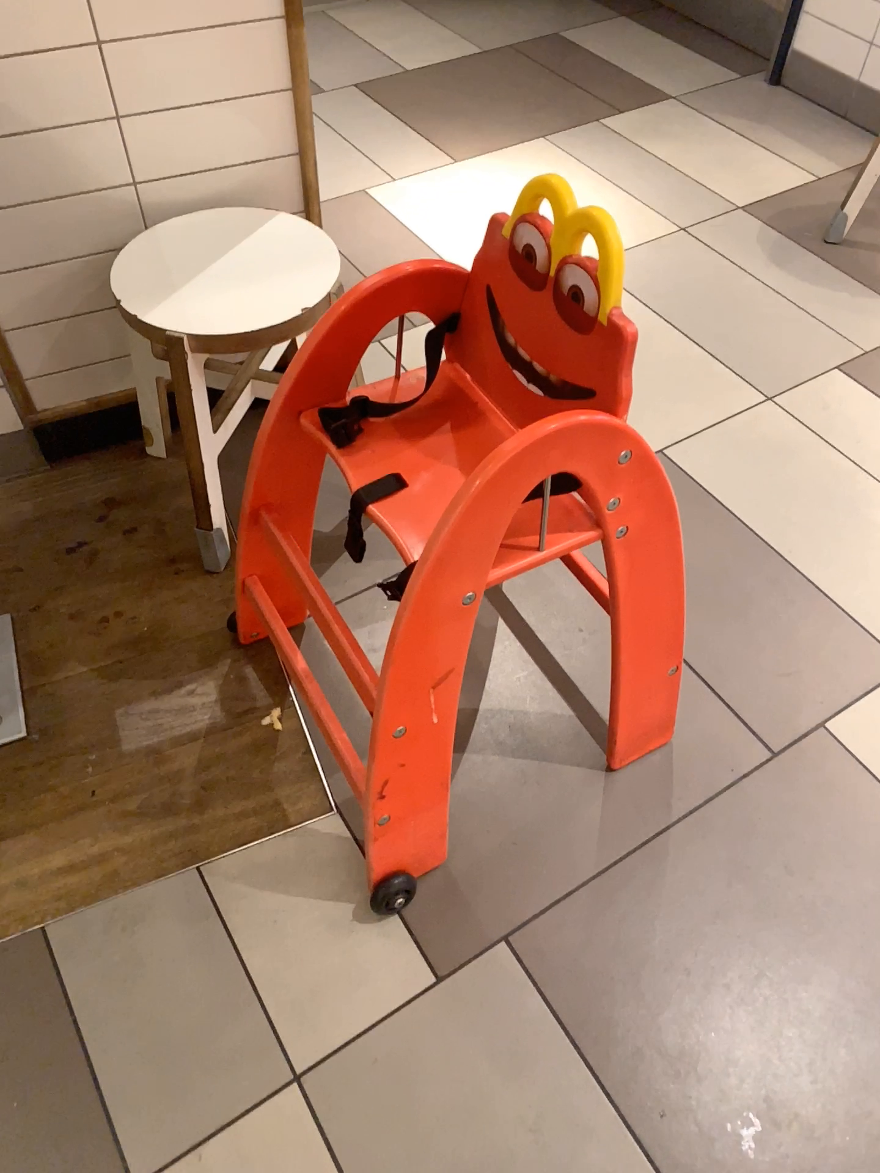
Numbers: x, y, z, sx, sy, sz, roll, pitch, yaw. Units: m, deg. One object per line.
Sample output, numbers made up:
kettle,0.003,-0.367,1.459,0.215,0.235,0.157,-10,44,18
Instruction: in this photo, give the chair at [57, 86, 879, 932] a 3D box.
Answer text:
chair,0.012,-0.096,1.091,0.581,0.654,0.584,-26,56,-21

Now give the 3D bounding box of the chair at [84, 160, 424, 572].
chair,-0.269,-0.347,1.423,0.371,0.446,0.322,-26,56,-21
